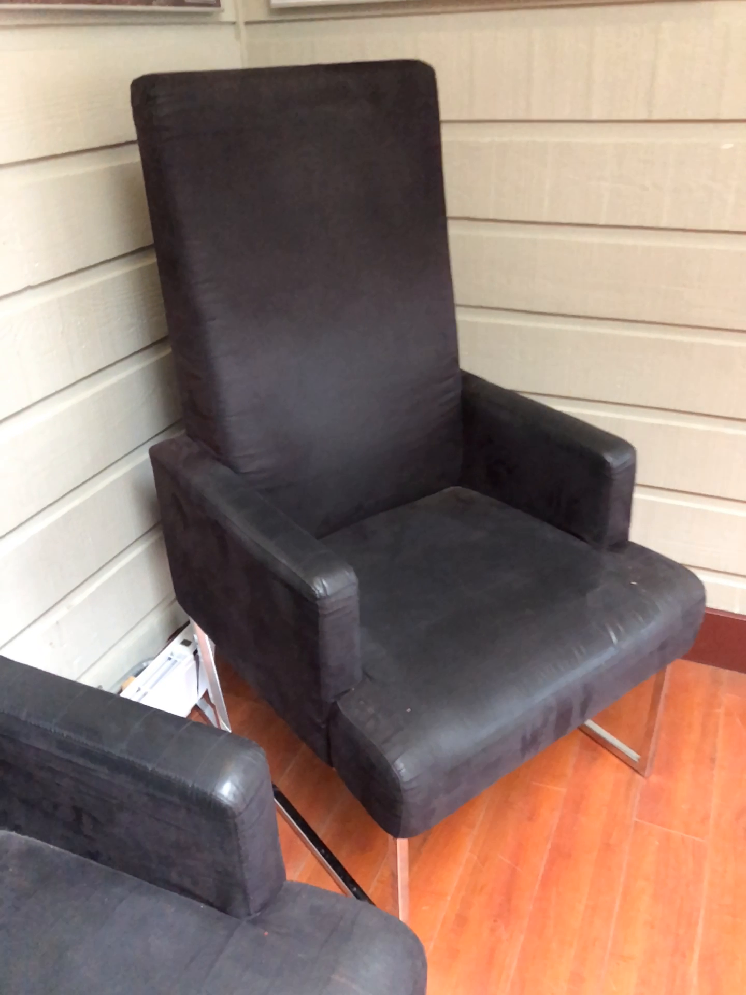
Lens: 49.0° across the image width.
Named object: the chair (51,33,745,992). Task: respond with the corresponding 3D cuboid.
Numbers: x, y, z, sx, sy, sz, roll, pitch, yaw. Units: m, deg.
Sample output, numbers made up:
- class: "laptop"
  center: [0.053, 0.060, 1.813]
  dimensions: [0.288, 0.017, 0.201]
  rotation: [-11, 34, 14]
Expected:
- class: "chair"
  center: [0.066, -0.056, 1.229]
  dimensions: [0.631, 1.083, 0.703]
  rotation: [-22, 34, -31]
